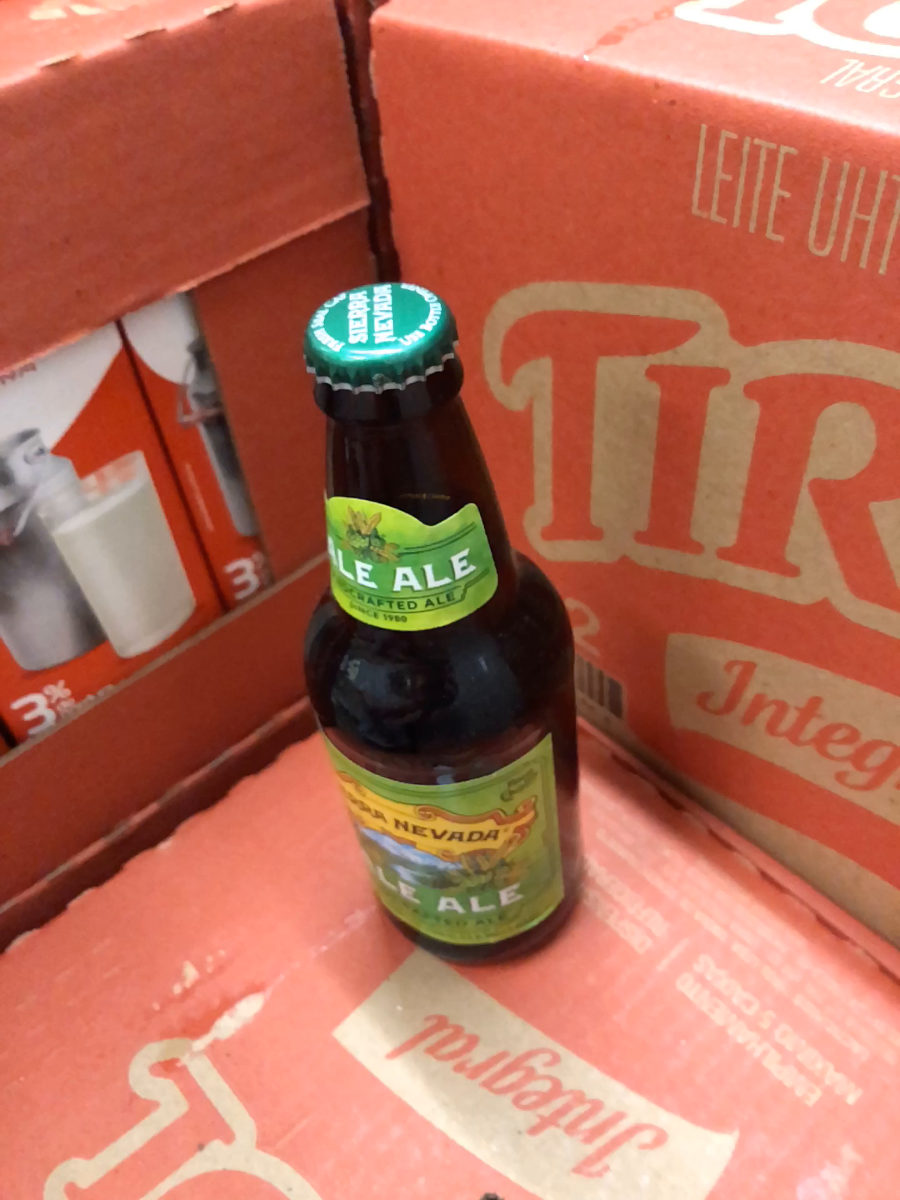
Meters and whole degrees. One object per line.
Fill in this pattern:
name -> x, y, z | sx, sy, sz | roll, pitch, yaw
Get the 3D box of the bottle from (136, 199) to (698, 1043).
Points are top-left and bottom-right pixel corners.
bottle -> 0.003, 0.019, 0.231 | 0.070, 0.189, 0.060 | 23, 52, 26
